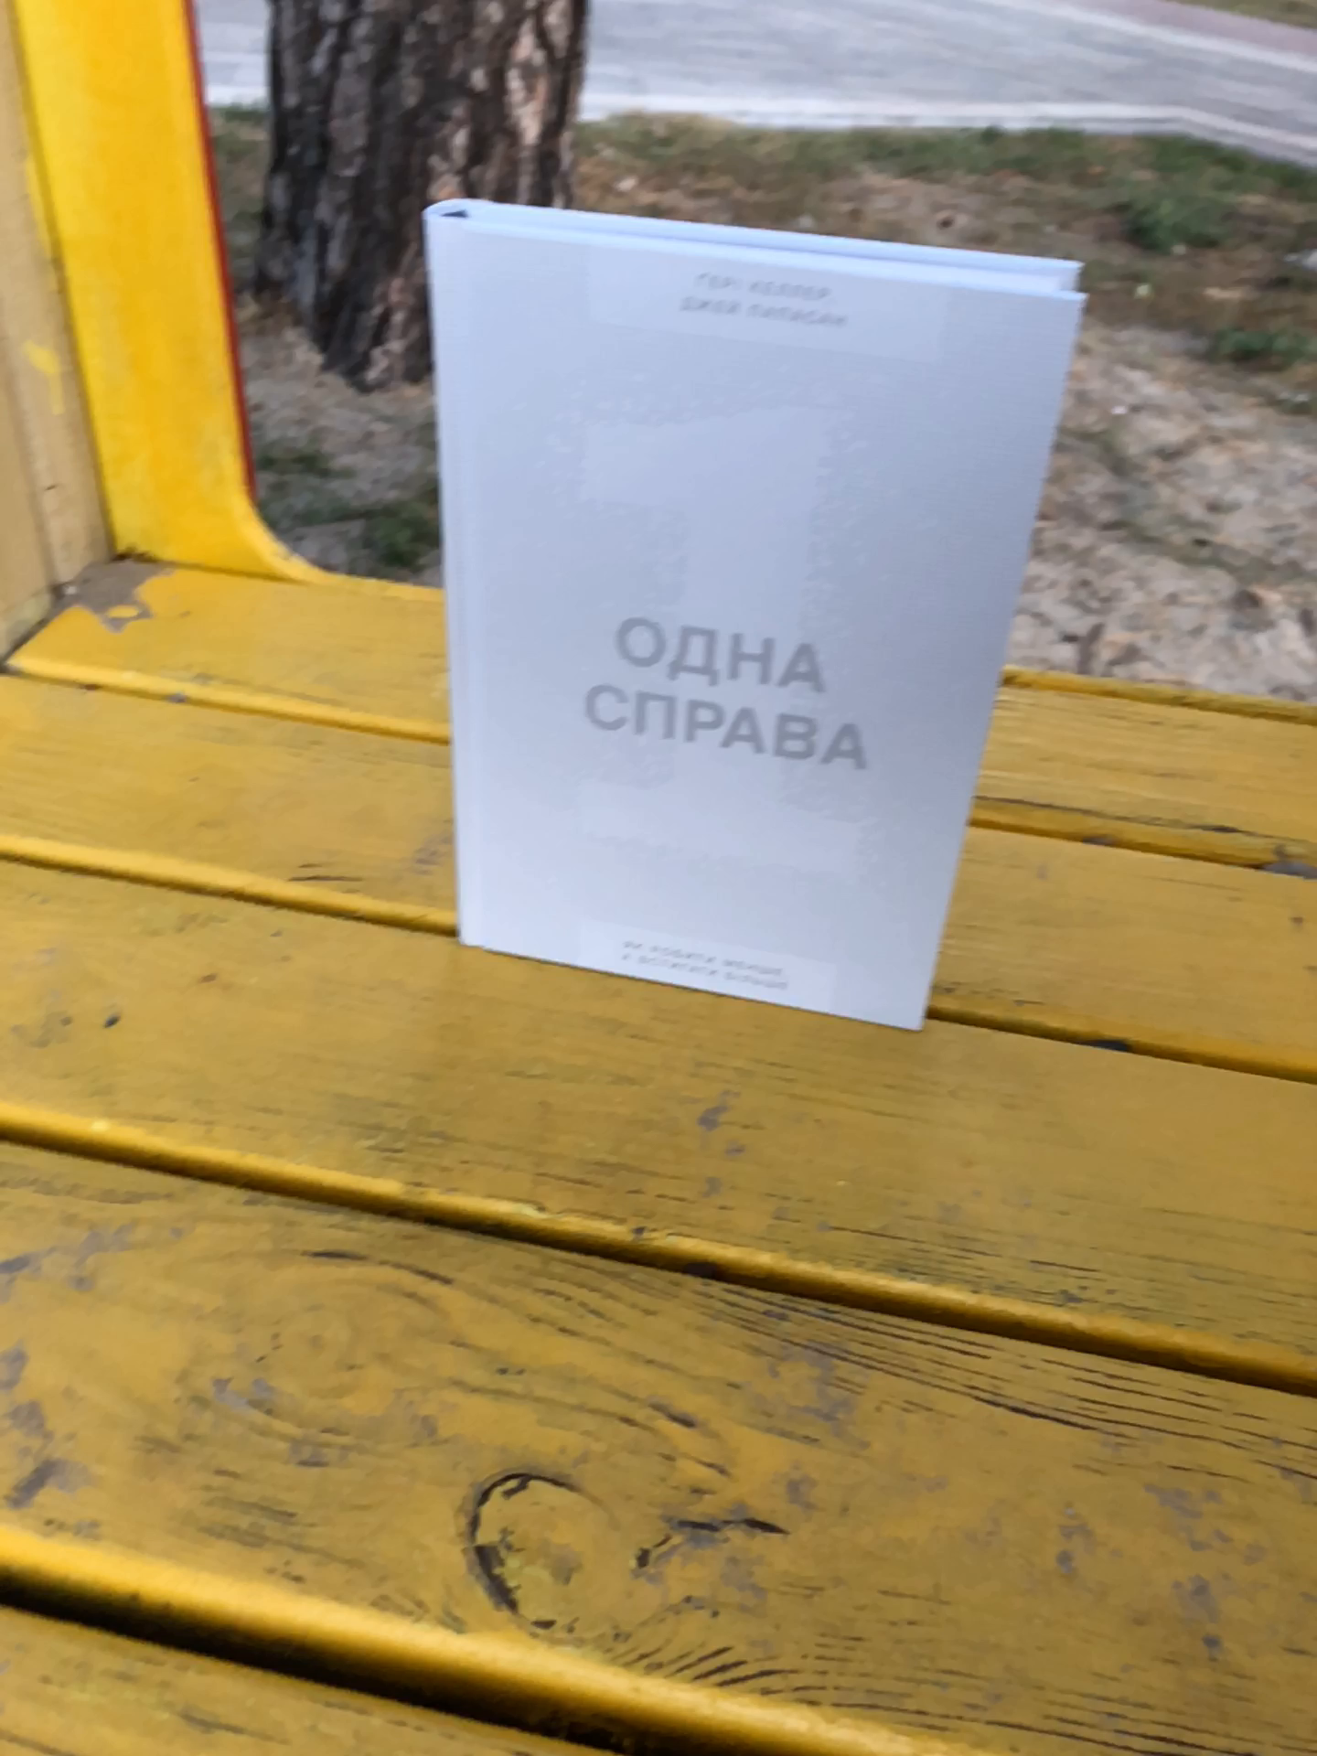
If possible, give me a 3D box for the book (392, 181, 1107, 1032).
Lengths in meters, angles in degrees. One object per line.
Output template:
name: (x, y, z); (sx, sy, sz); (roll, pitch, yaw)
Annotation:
book: (0.015, -0.059, 0.383); (0.154, 0.208, 0.030); (10, 39, 9)
